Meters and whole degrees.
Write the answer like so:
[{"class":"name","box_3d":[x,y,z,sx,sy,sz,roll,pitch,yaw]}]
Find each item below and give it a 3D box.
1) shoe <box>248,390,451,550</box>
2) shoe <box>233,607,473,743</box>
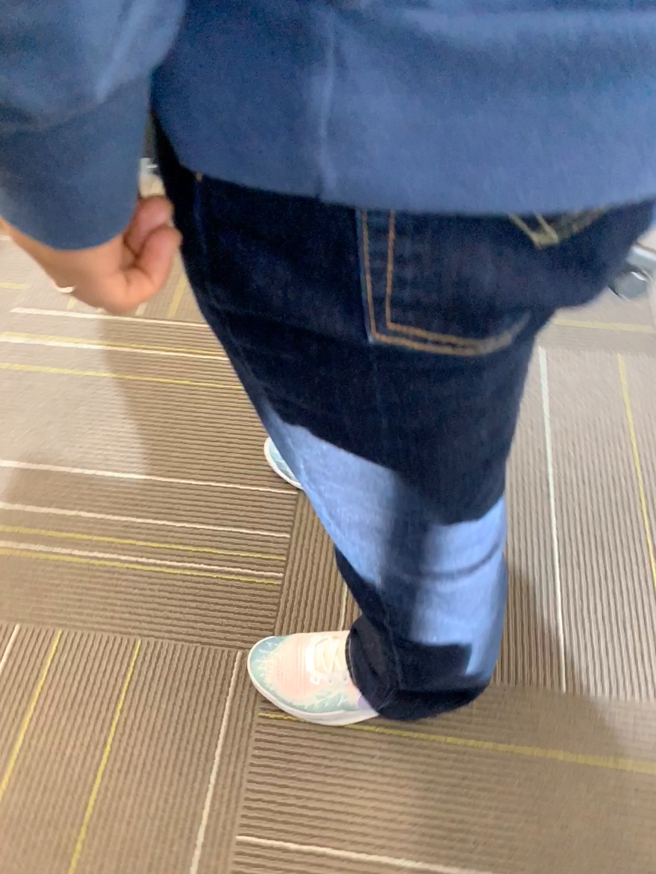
[{"class":"shoe","box_3d":[0.031,0.047,1.037,0.283,0.088,0.118,24,59,18]},{"class":"shoe","box_3d":[0.036,0.309,0.869,0.289,0.078,0.123,4,54,5]}]
